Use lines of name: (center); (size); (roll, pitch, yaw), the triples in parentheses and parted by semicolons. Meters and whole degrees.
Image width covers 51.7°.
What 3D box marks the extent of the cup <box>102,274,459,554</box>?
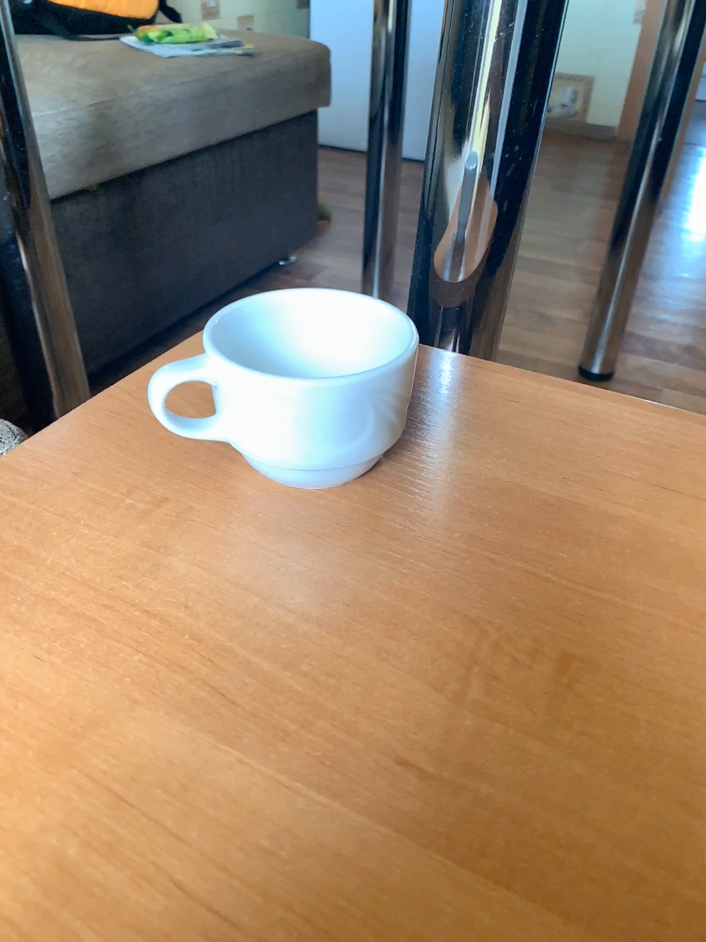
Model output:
cup: (-0.028, -0.027, 0.262); (0.100, 0.050, 0.080); (-13, 39, -20)
